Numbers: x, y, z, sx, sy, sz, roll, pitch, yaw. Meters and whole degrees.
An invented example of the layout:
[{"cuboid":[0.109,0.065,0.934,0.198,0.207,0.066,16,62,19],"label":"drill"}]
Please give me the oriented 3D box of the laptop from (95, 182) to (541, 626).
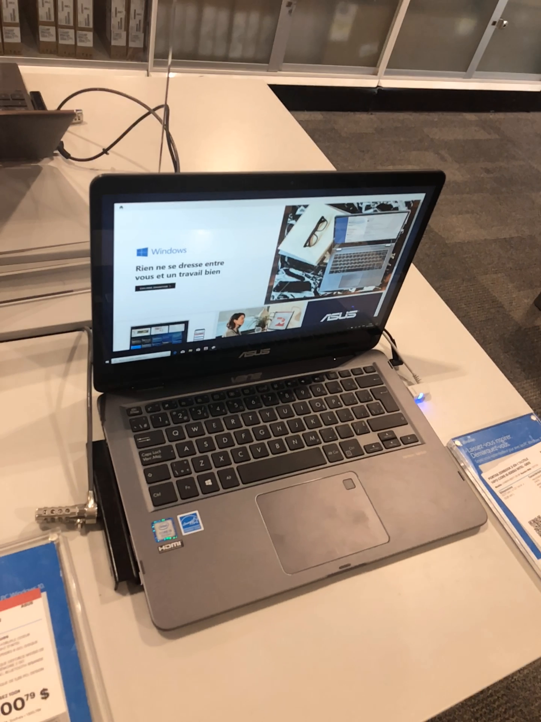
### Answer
[{"cuboid":[0.039,0.016,0.472,0.303,0.217,0.224,-9,50,-23],"label":"laptop"}]
